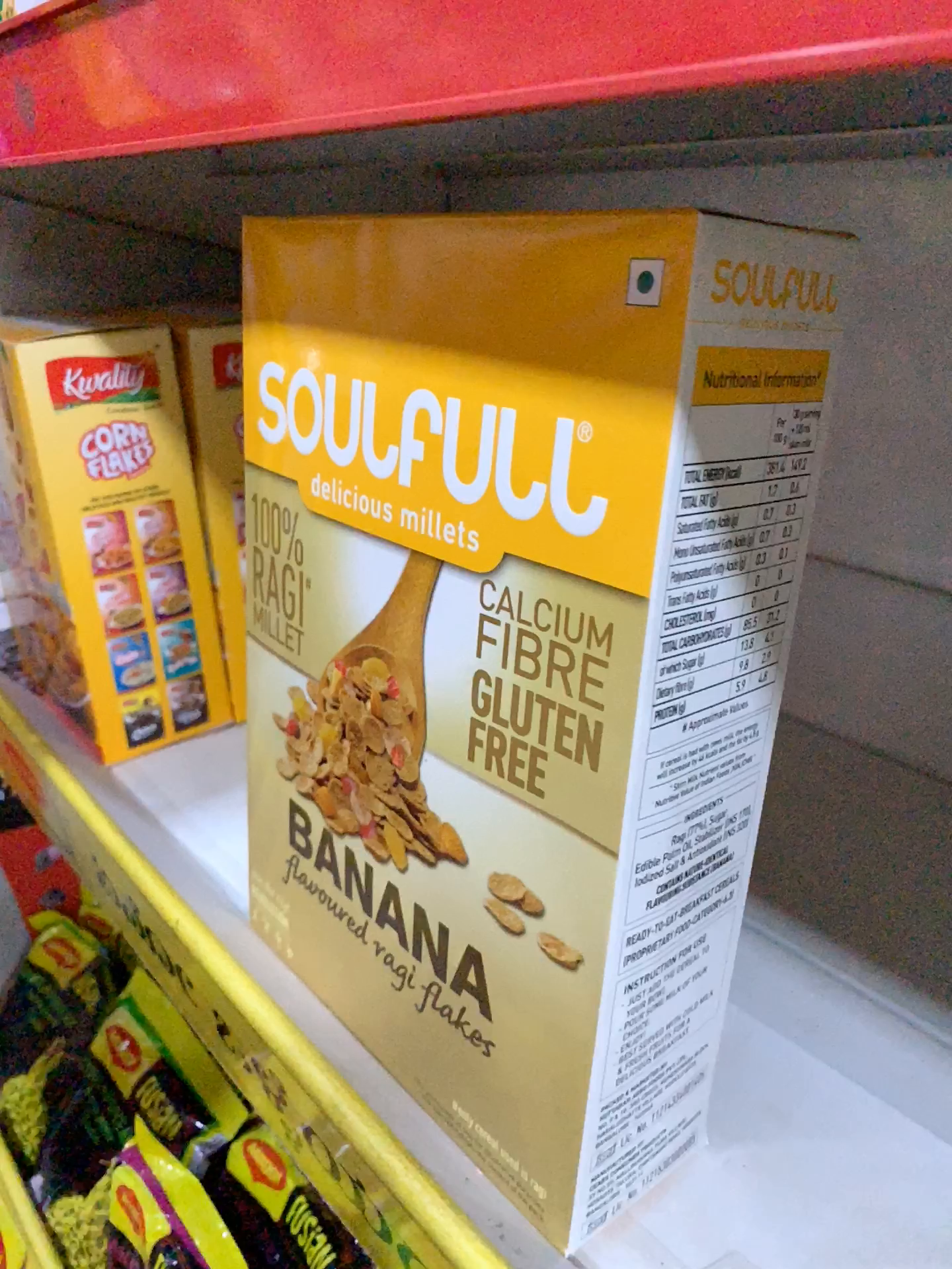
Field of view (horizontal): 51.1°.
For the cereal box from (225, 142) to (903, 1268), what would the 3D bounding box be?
[{"bbox_3d":[-0.001,0.006,0.262,0.060,0.229,0.161,-11,23,-39],"label":"cereal box"}]
